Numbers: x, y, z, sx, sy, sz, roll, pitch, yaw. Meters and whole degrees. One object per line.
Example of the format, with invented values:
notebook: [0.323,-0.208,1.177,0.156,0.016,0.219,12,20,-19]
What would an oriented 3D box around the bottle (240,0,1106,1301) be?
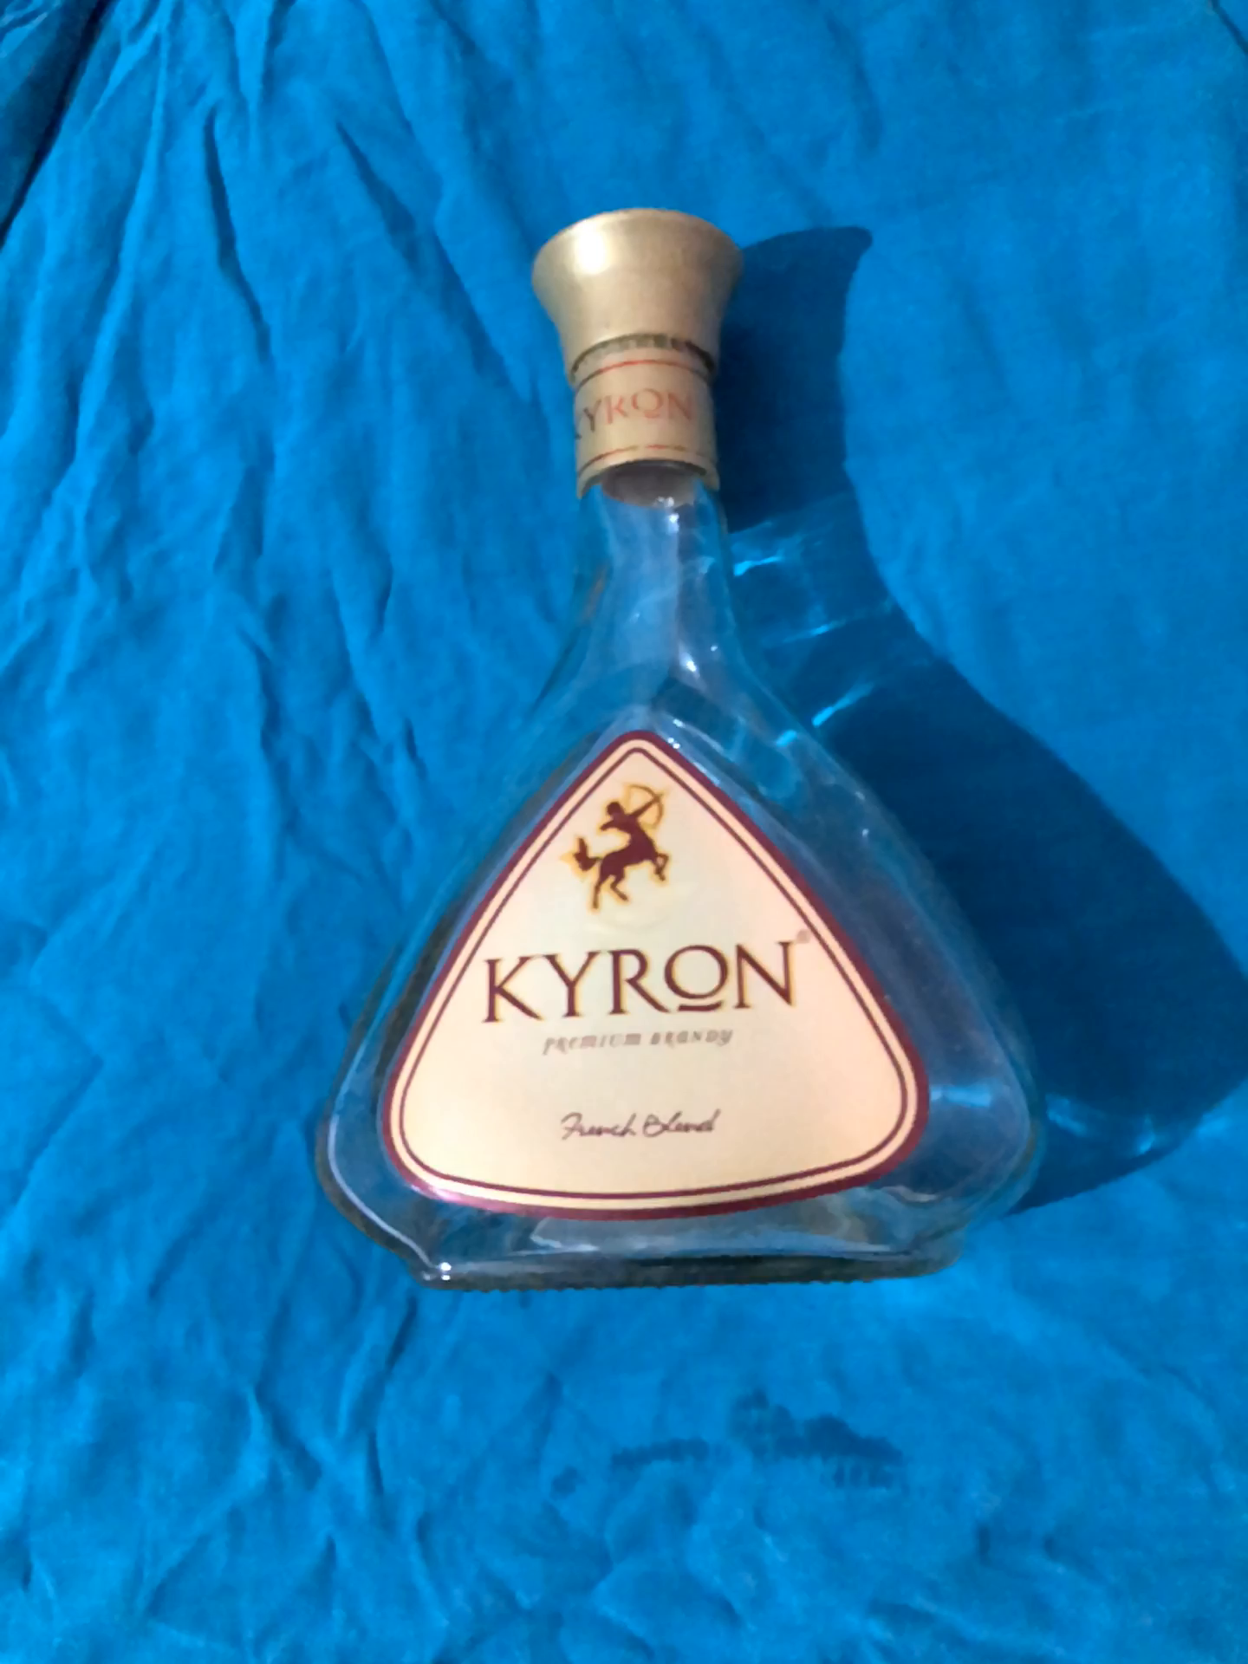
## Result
bottle: [0.008,-0.033,0.295,0.150,0.080,0.240,-6,81,14]
